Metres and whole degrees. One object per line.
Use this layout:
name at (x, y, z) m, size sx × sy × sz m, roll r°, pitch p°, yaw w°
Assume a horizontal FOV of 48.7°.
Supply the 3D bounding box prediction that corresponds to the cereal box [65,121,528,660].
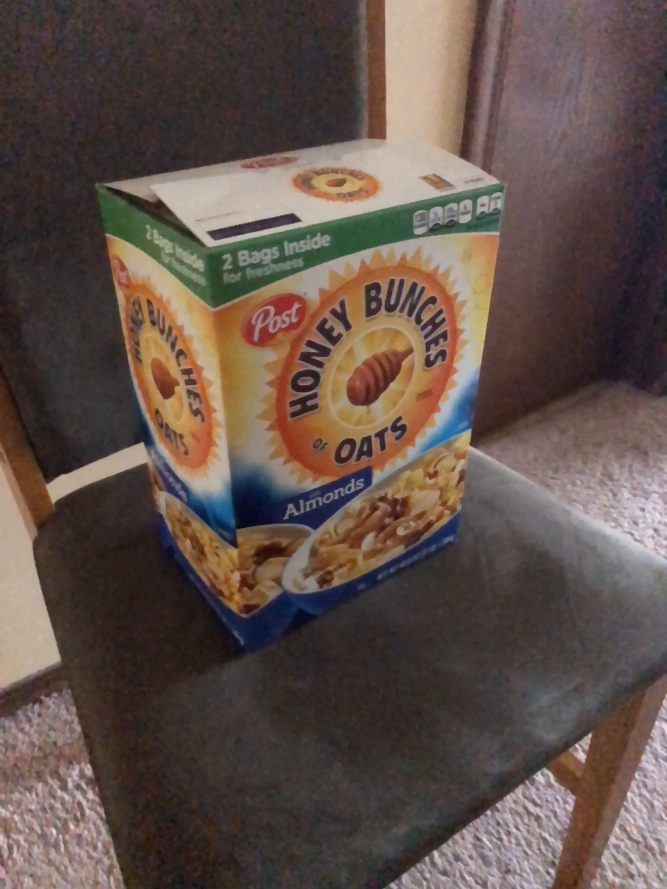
cereal box at (-0.020, -0.048, 0.511) m, size 0.220 × 0.279 × 0.160 m, roll -22°, pitch 39°, yaw -28°
